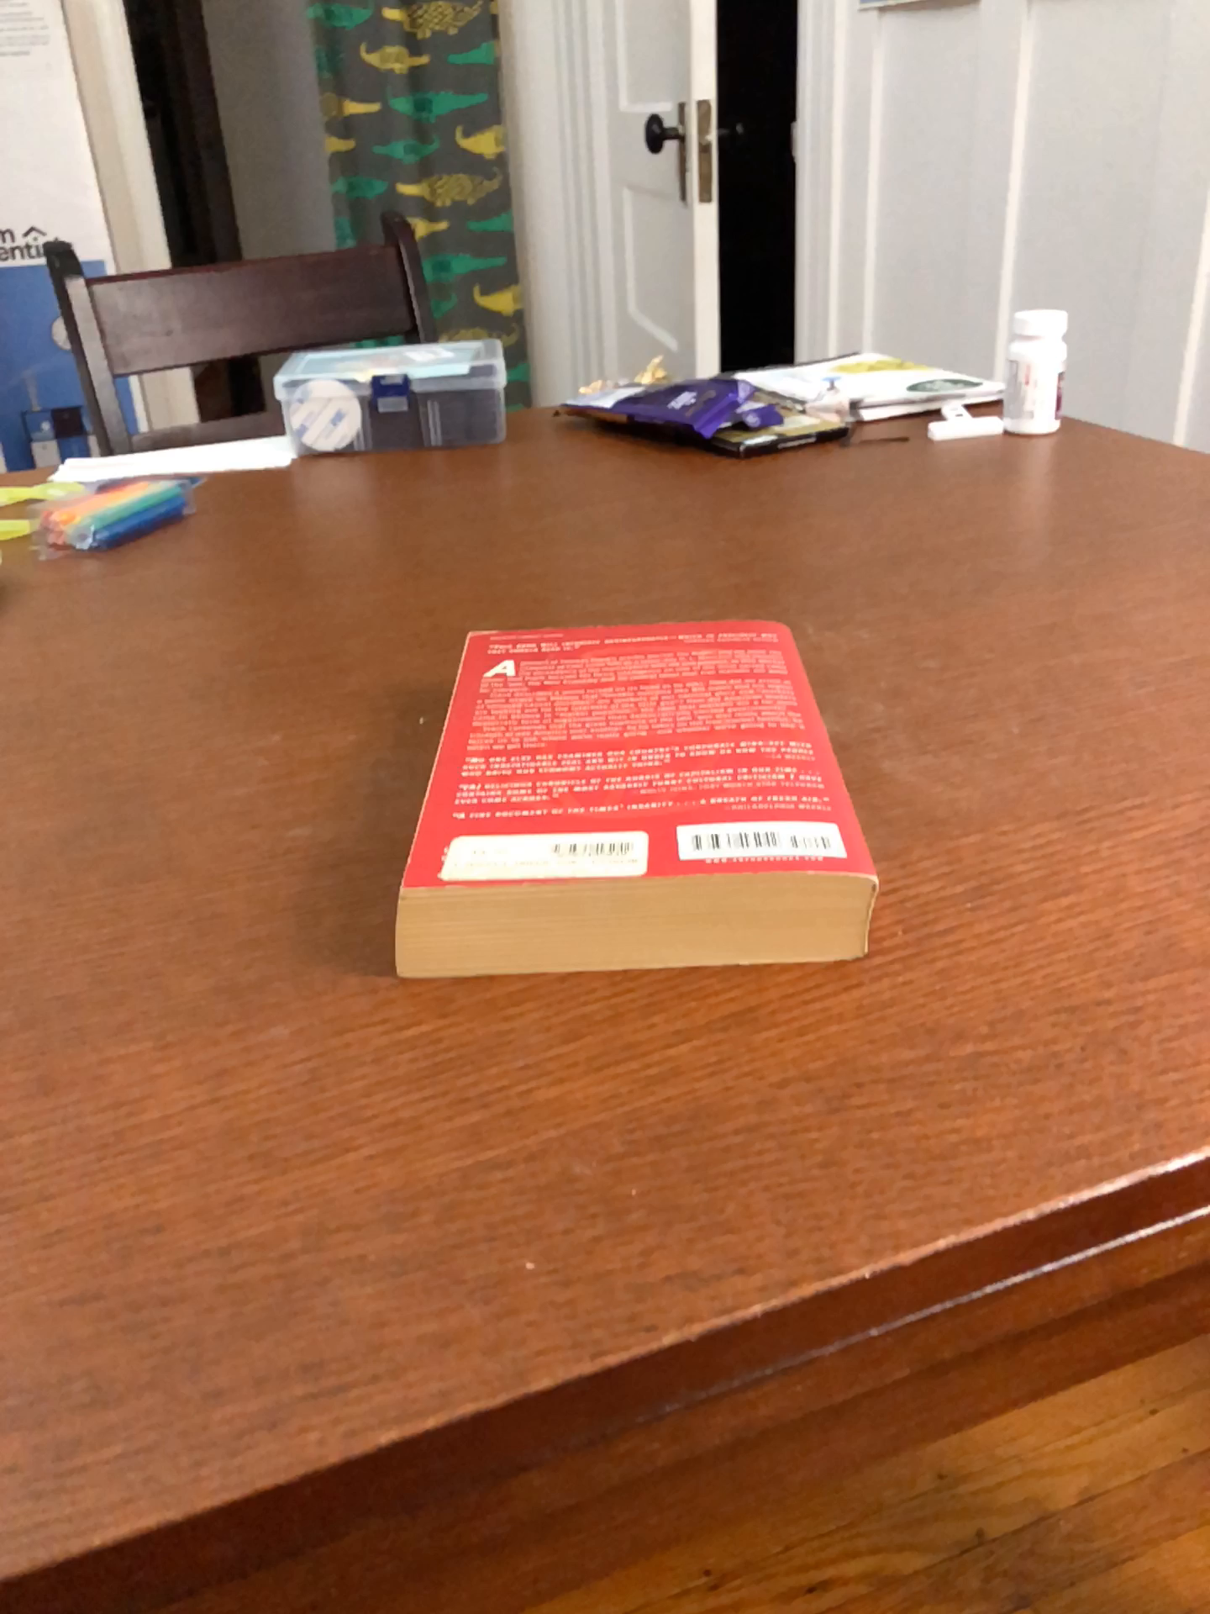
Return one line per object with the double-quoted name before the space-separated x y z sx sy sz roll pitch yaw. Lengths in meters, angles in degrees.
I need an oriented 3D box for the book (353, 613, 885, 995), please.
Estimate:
"book" 0.004 -0.013 0.452 0.140 0.030 0.211 -2 27 1
